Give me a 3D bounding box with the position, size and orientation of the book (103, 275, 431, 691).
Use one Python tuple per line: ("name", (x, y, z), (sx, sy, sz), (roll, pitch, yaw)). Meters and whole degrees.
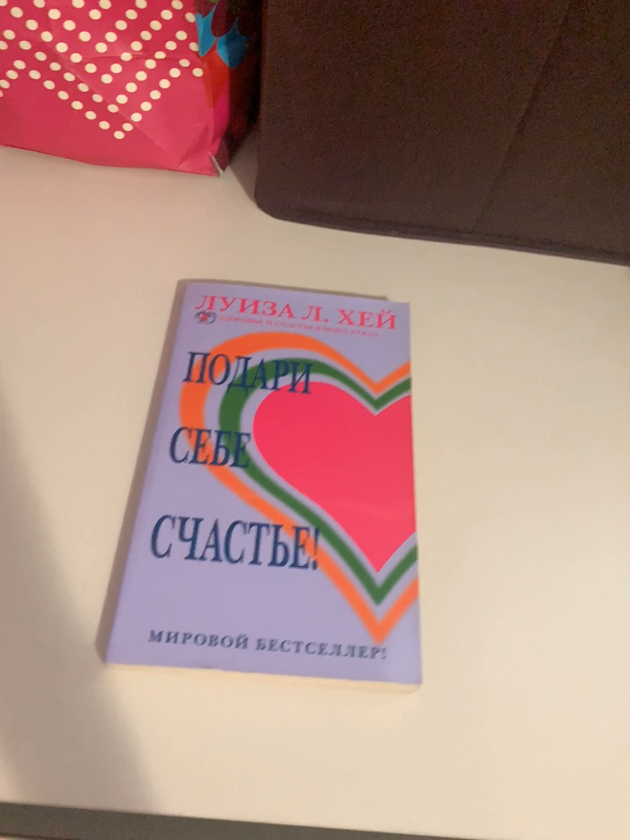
("book", (-0.013, 0.016, 0.301), (0.123, 0.016, 0.195), (6, 58, -4))
